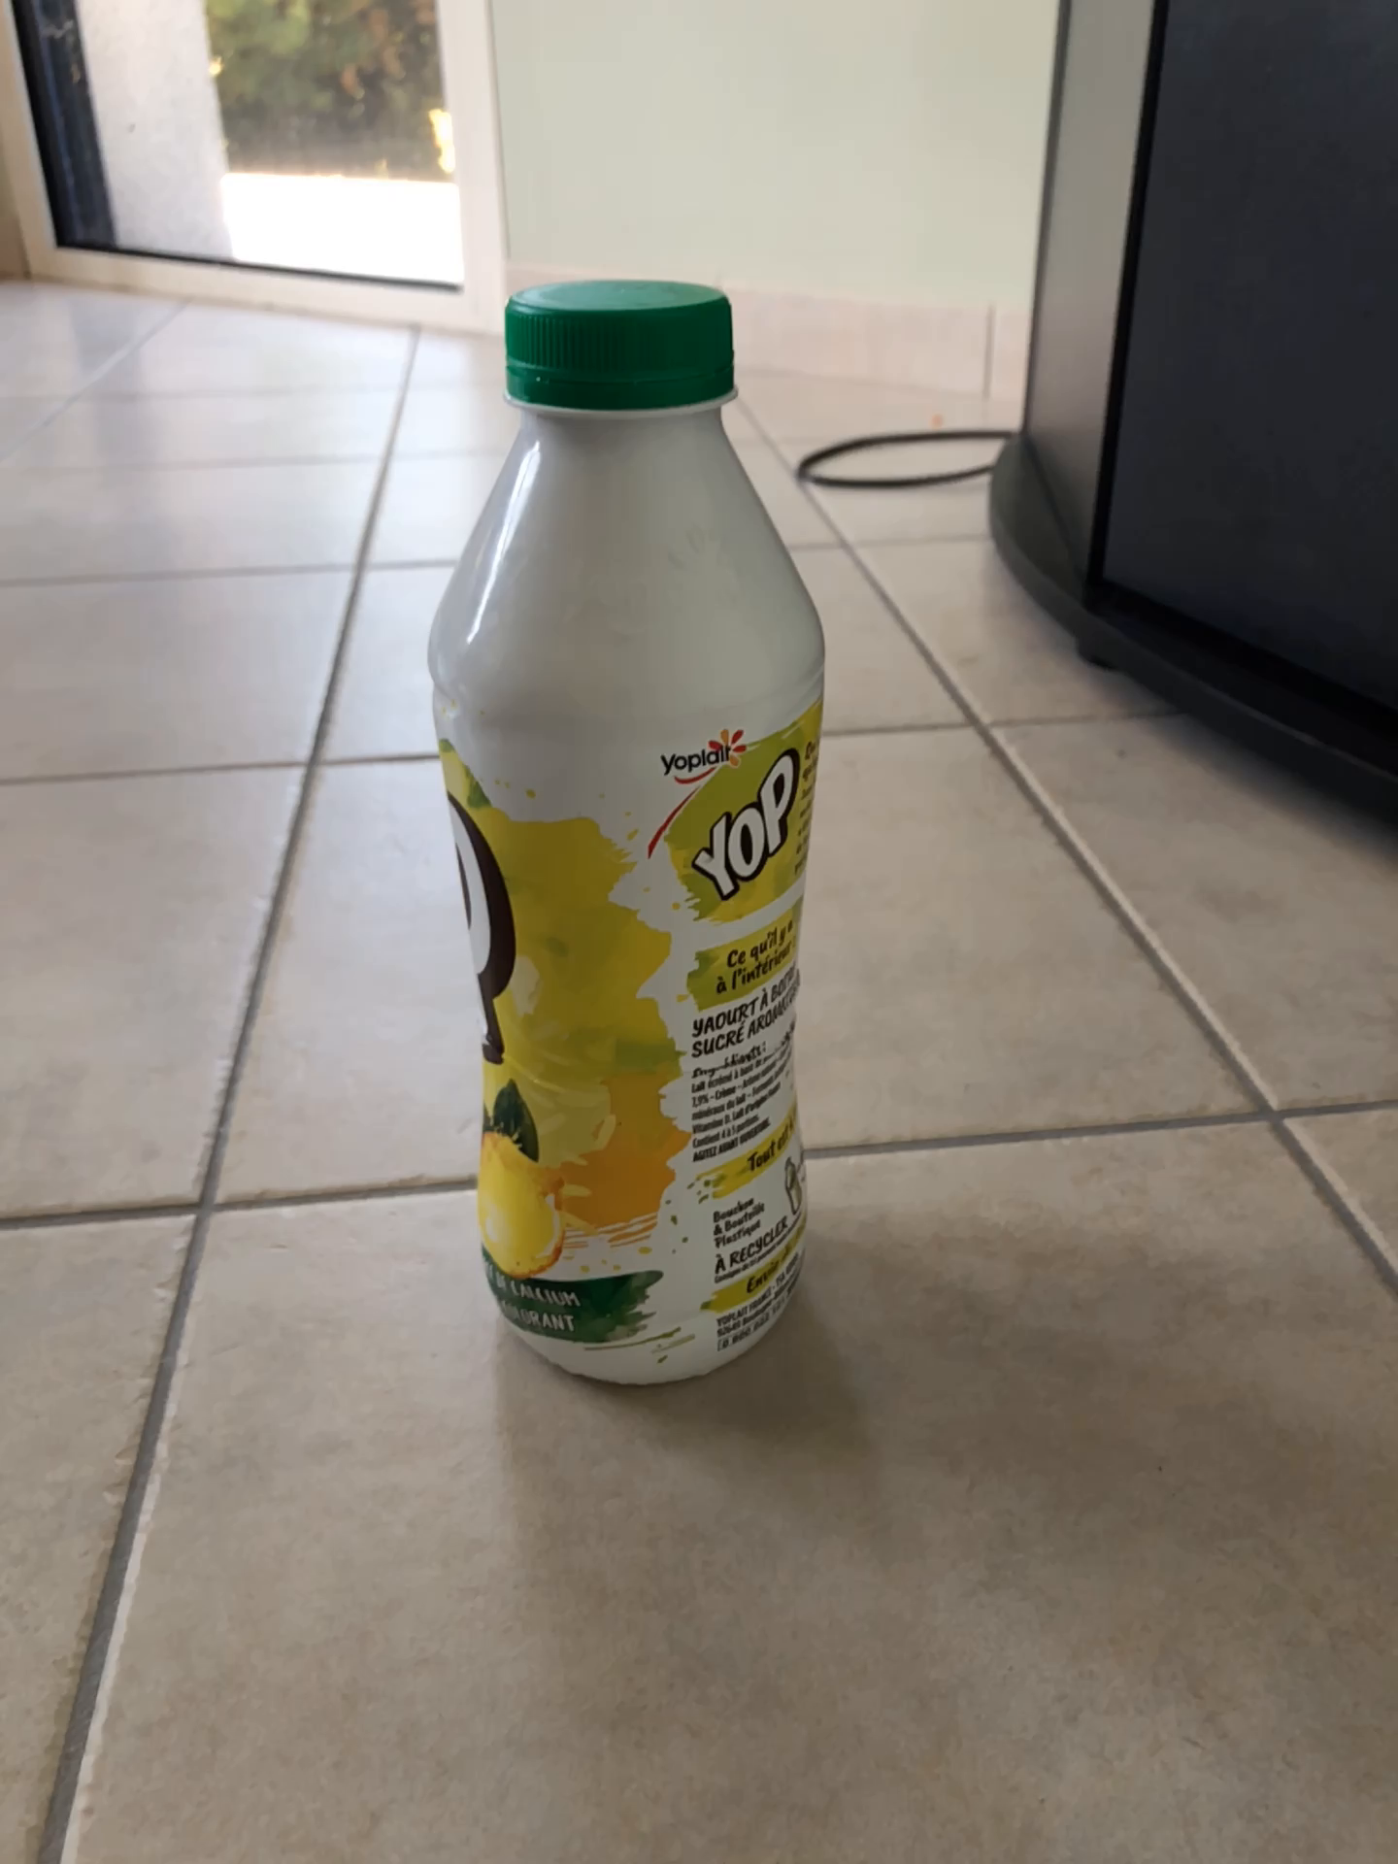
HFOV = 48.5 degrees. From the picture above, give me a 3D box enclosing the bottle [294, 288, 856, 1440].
[{"bbox_3d":[-0.016,-0.010,0.334,0.080,0.229,0.081,-1,29,0],"label":"bottle"}]
